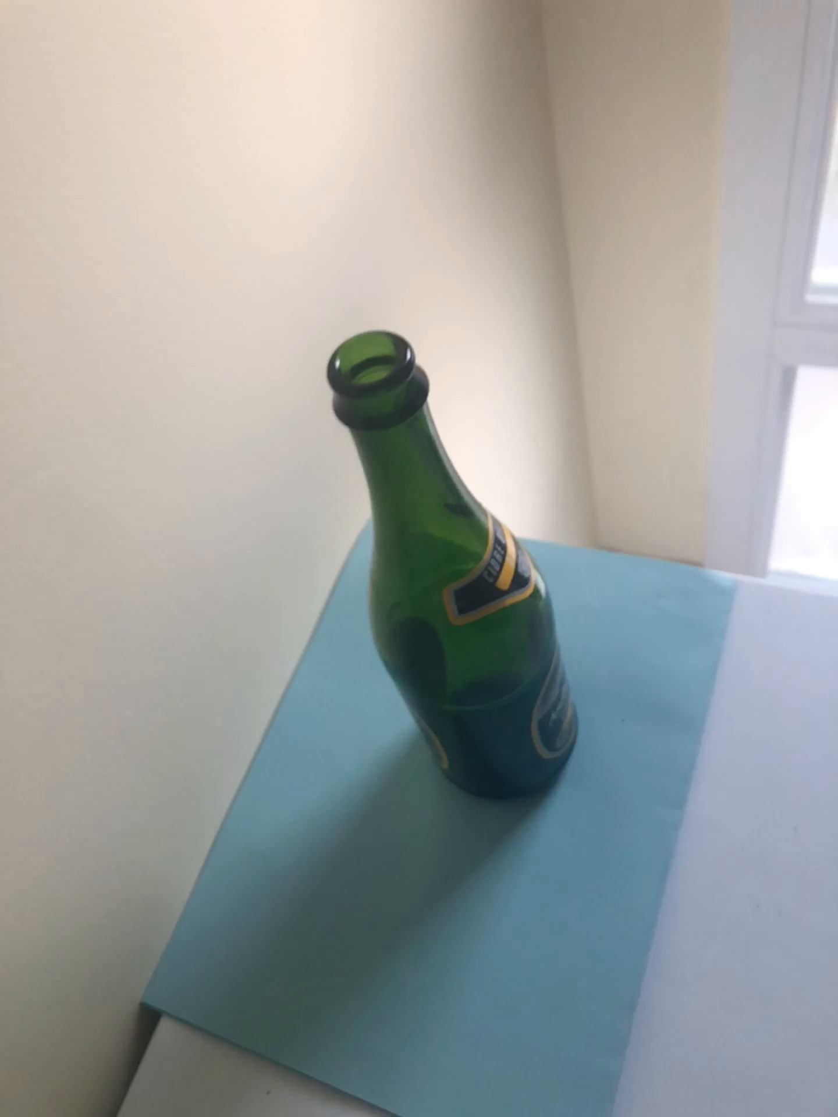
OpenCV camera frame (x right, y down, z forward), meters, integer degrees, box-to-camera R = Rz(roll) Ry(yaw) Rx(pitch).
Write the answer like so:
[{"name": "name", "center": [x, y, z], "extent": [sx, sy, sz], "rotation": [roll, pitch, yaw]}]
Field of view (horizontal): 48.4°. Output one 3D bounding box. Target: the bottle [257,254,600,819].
[{"name": "bottle", "center": [0.026, 0.020, 0.394], "extent": [0.080, 0.279, 0.091], "rotation": [-4, 55, 12]}]
